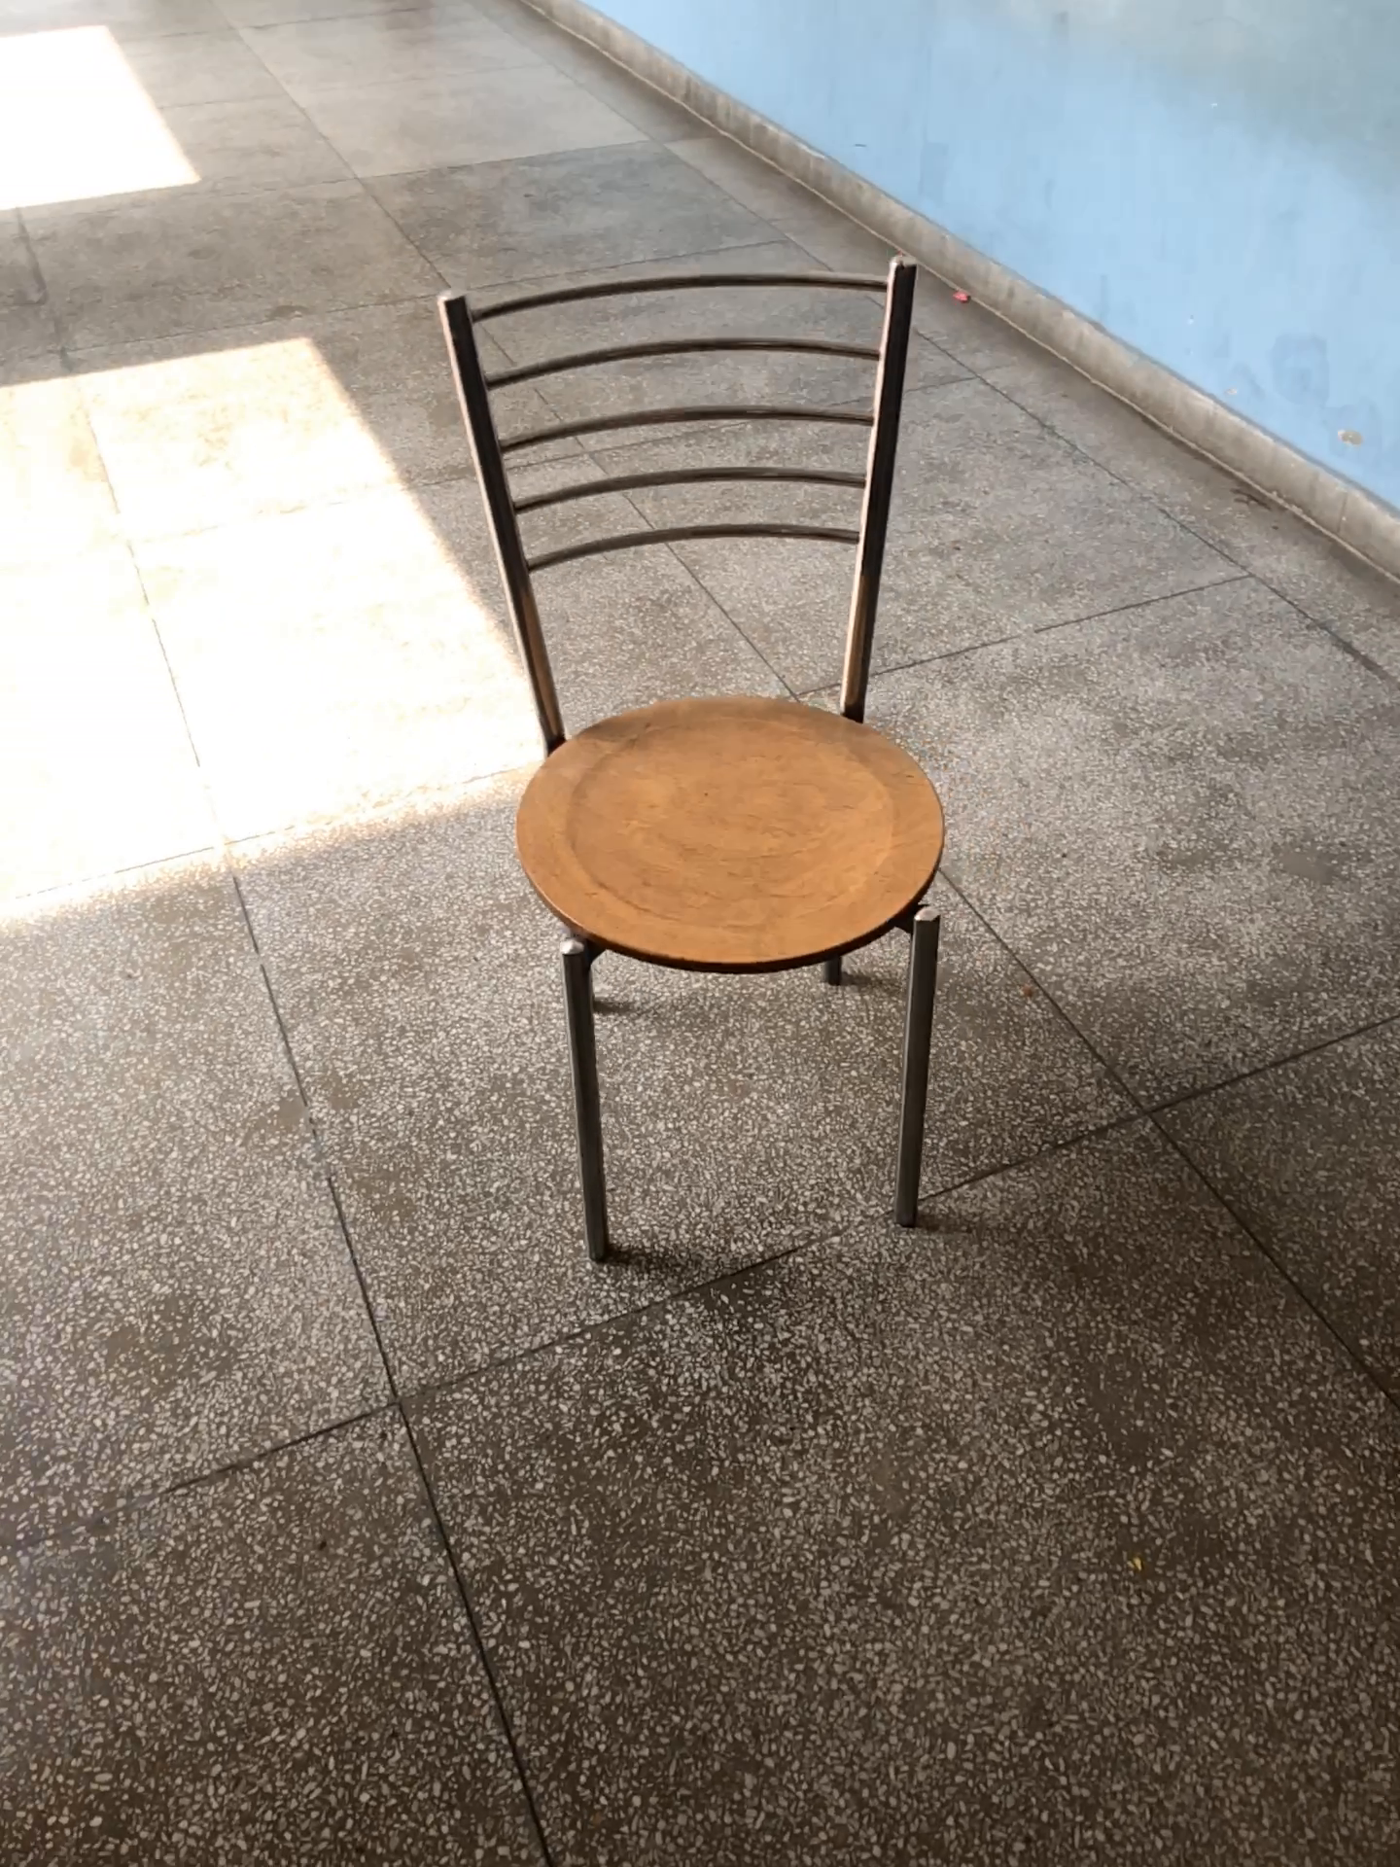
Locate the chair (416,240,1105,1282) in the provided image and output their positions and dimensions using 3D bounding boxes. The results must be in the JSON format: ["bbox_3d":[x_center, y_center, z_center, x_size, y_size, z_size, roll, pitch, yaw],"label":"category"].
[{"bbox_3d":[0.016,-0.124,1.356,0.420,0.777,0.422,-6,42,-7],"label":"chair"}]
